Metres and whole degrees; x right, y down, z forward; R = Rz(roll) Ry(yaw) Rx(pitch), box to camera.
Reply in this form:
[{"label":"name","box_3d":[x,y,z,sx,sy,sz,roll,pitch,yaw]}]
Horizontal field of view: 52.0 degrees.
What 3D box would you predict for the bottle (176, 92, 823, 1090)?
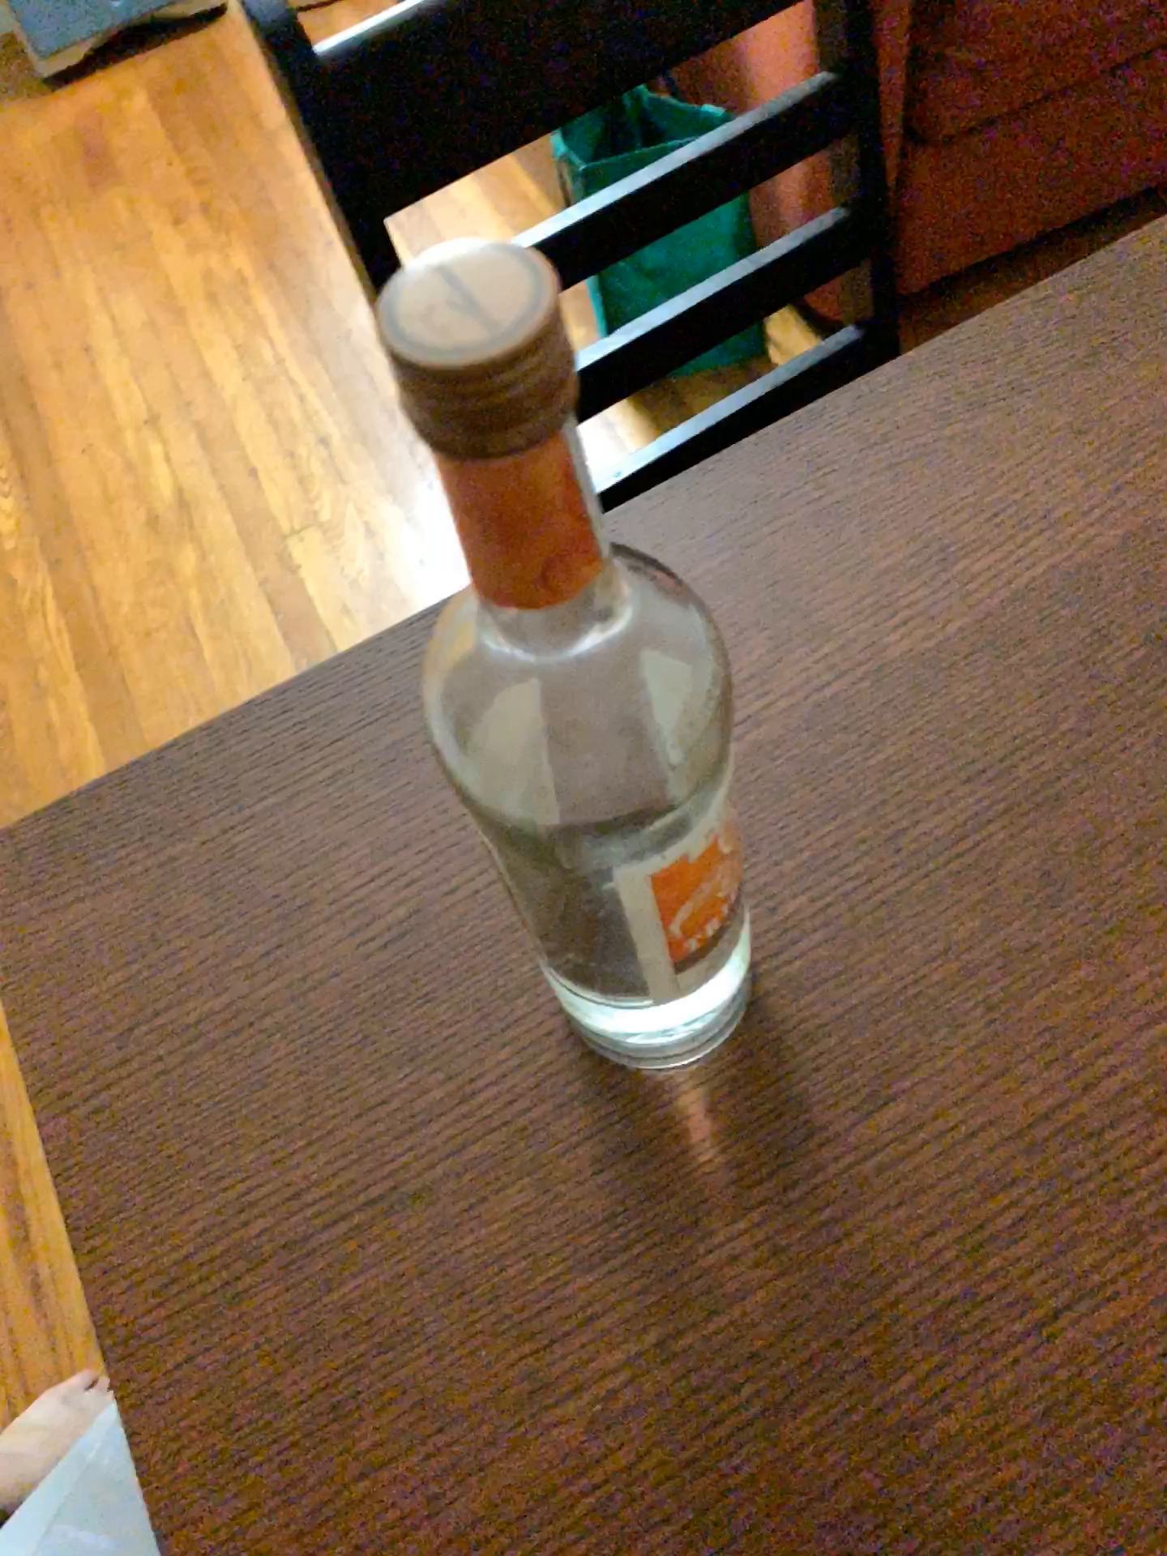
[{"label":"bottle","box_3d":[0.011,-0.007,0.316,0.080,0.299,0.090,9,64,14]}]
